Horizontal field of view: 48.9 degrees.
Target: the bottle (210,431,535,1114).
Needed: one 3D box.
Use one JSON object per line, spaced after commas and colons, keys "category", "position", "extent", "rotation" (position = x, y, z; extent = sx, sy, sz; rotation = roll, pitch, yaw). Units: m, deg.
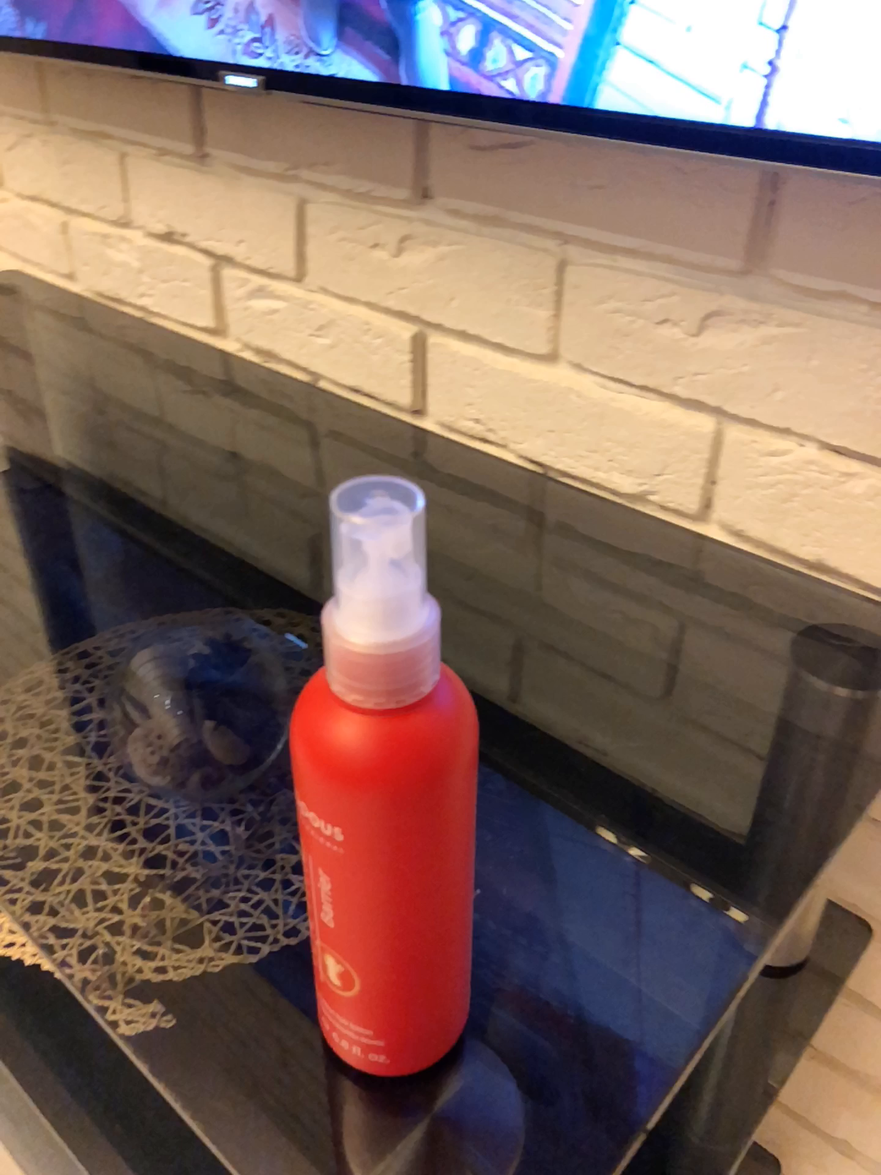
{"category": "bottle", "position": [-0.016, 0.056, 0.259], "extent": [0.052, 0.179, 0.048], "rotation": [1, 32, 0]}
